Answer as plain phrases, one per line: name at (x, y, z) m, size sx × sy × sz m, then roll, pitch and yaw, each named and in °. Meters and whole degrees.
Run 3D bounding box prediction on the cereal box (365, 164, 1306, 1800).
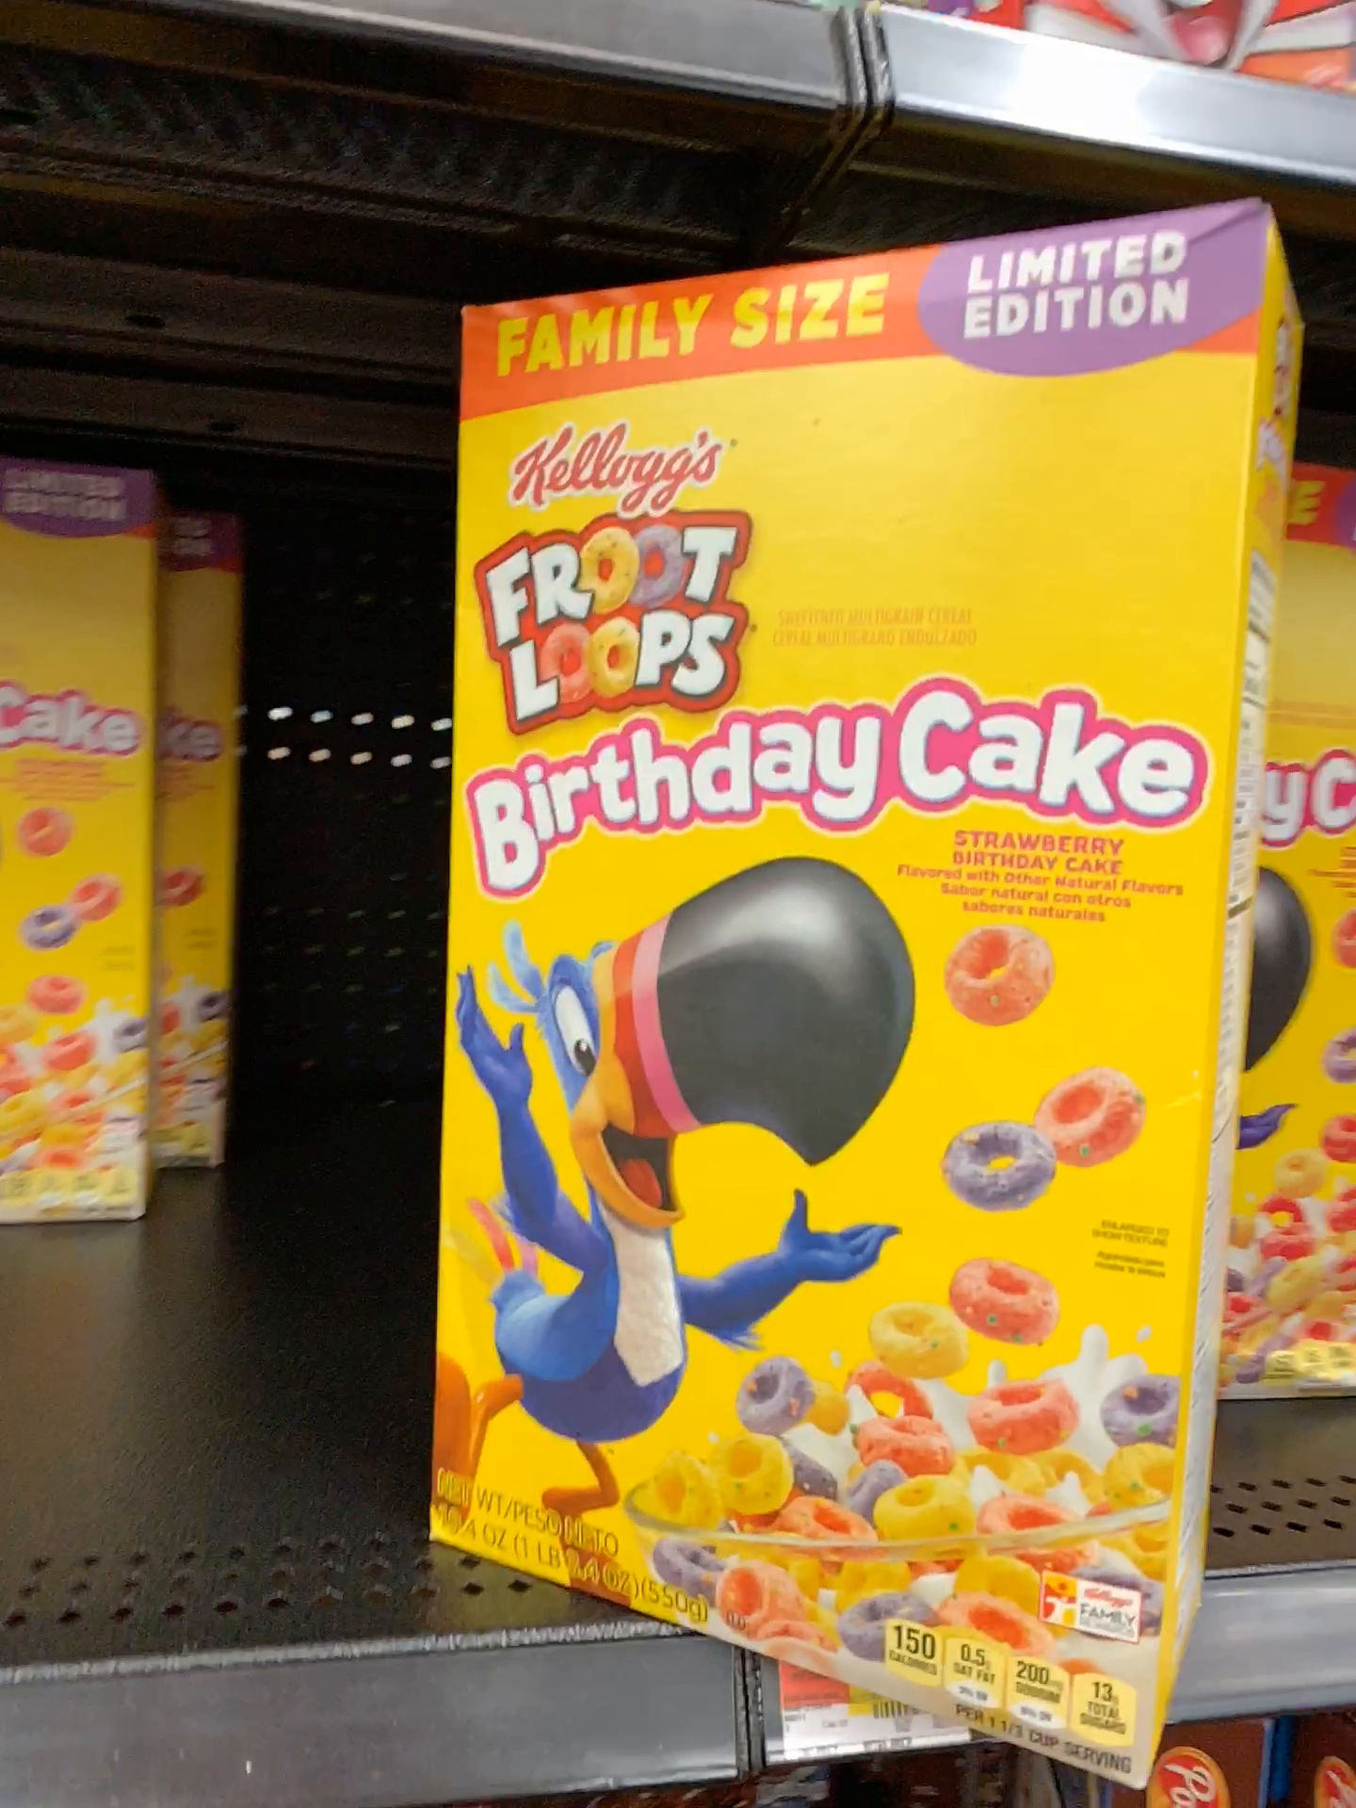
cereal box at (0.033, 0.011, 0.358) m, size 0.200 × 0.330 × 0.080 m, roll 6°, pitch 5°, yaw 26°
